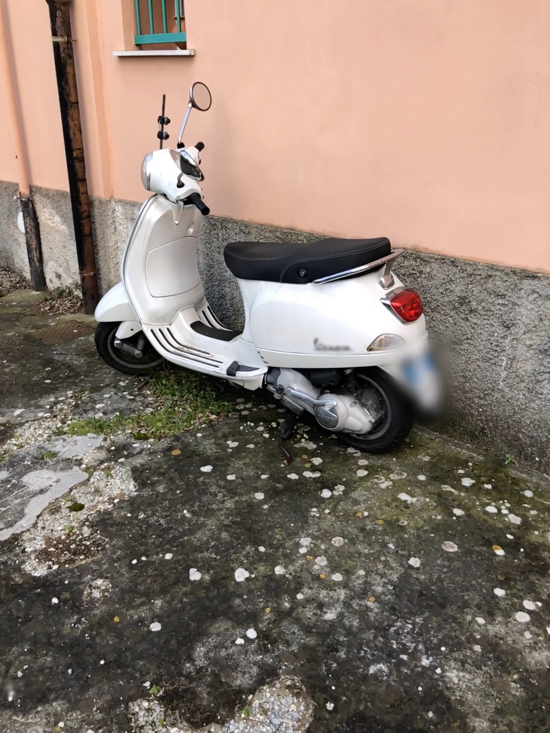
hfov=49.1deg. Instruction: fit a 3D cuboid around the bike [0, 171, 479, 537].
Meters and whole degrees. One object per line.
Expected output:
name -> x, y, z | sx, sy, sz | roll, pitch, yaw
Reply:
bike -> -0.259, -0.179, 2.375 | 1.659, 1.085, 0.646 | 13, 25, 30
